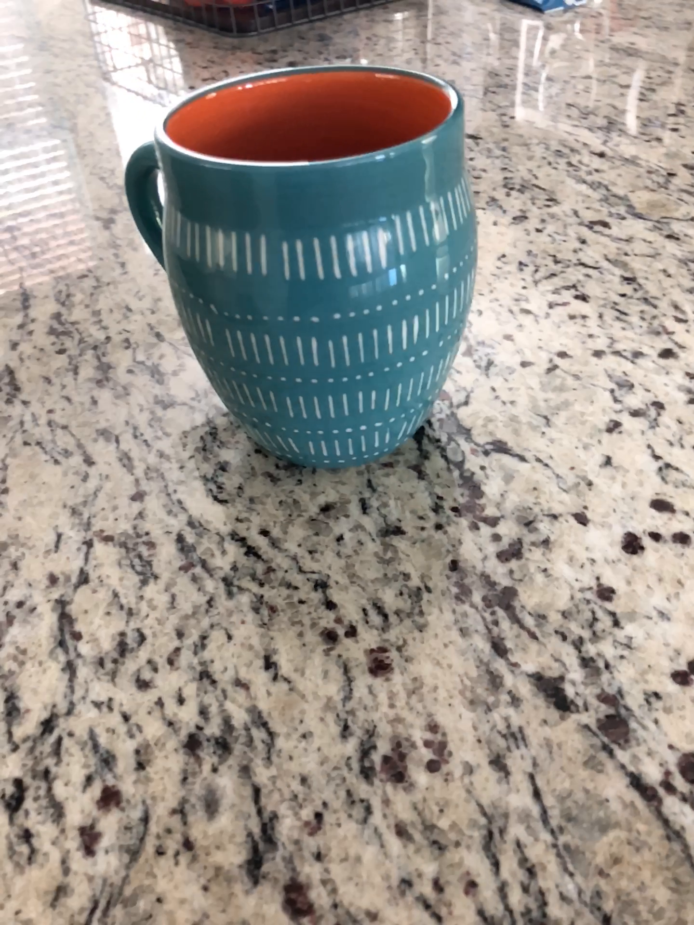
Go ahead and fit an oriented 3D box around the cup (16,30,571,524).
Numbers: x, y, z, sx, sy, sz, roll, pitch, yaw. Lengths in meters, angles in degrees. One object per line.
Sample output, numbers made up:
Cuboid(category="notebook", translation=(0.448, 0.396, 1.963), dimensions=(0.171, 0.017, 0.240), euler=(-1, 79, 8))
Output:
Cuboid(category="cup", translation=(-0.021, -0.080, 0.279), dimensions=(0.110, 0.099, 0.151), euler=(-31, 47, -27))
